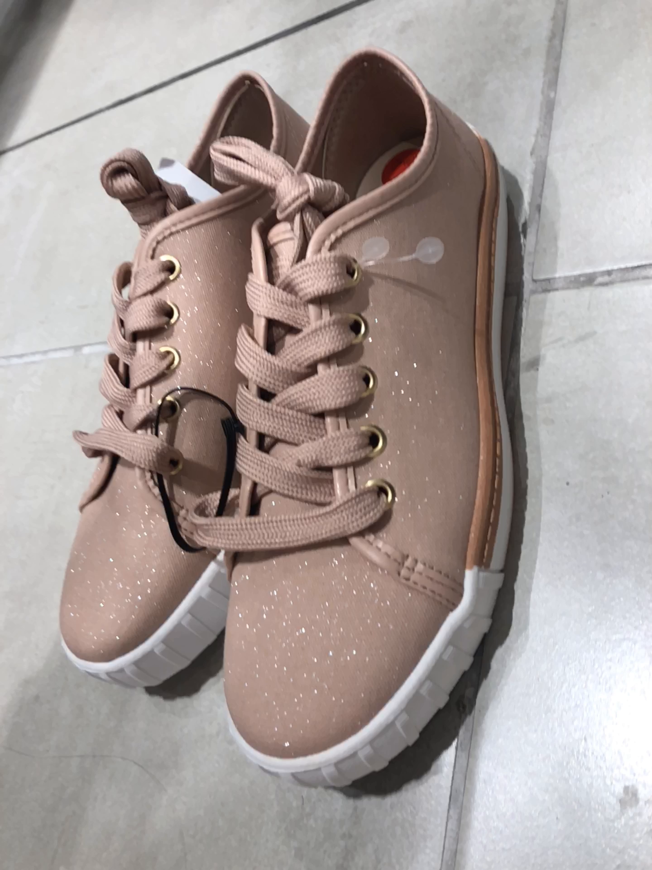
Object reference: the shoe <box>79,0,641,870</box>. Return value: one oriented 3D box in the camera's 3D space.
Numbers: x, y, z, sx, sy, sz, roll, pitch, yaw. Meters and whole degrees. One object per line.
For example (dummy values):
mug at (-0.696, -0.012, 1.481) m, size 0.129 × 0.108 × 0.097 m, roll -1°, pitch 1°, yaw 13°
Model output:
shoe at (0.031, -0.020, 0.219) m, size 0.090 × 0.099 × 0.240 m, roll -2°, pitch 65°, yaw 34°

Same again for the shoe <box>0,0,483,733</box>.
shoe at (-0.027, -0.028, 0.279) m, size 0.090 × 0.099 × 0.240 m, roll 5°, pitch 69°, yaw 37°
